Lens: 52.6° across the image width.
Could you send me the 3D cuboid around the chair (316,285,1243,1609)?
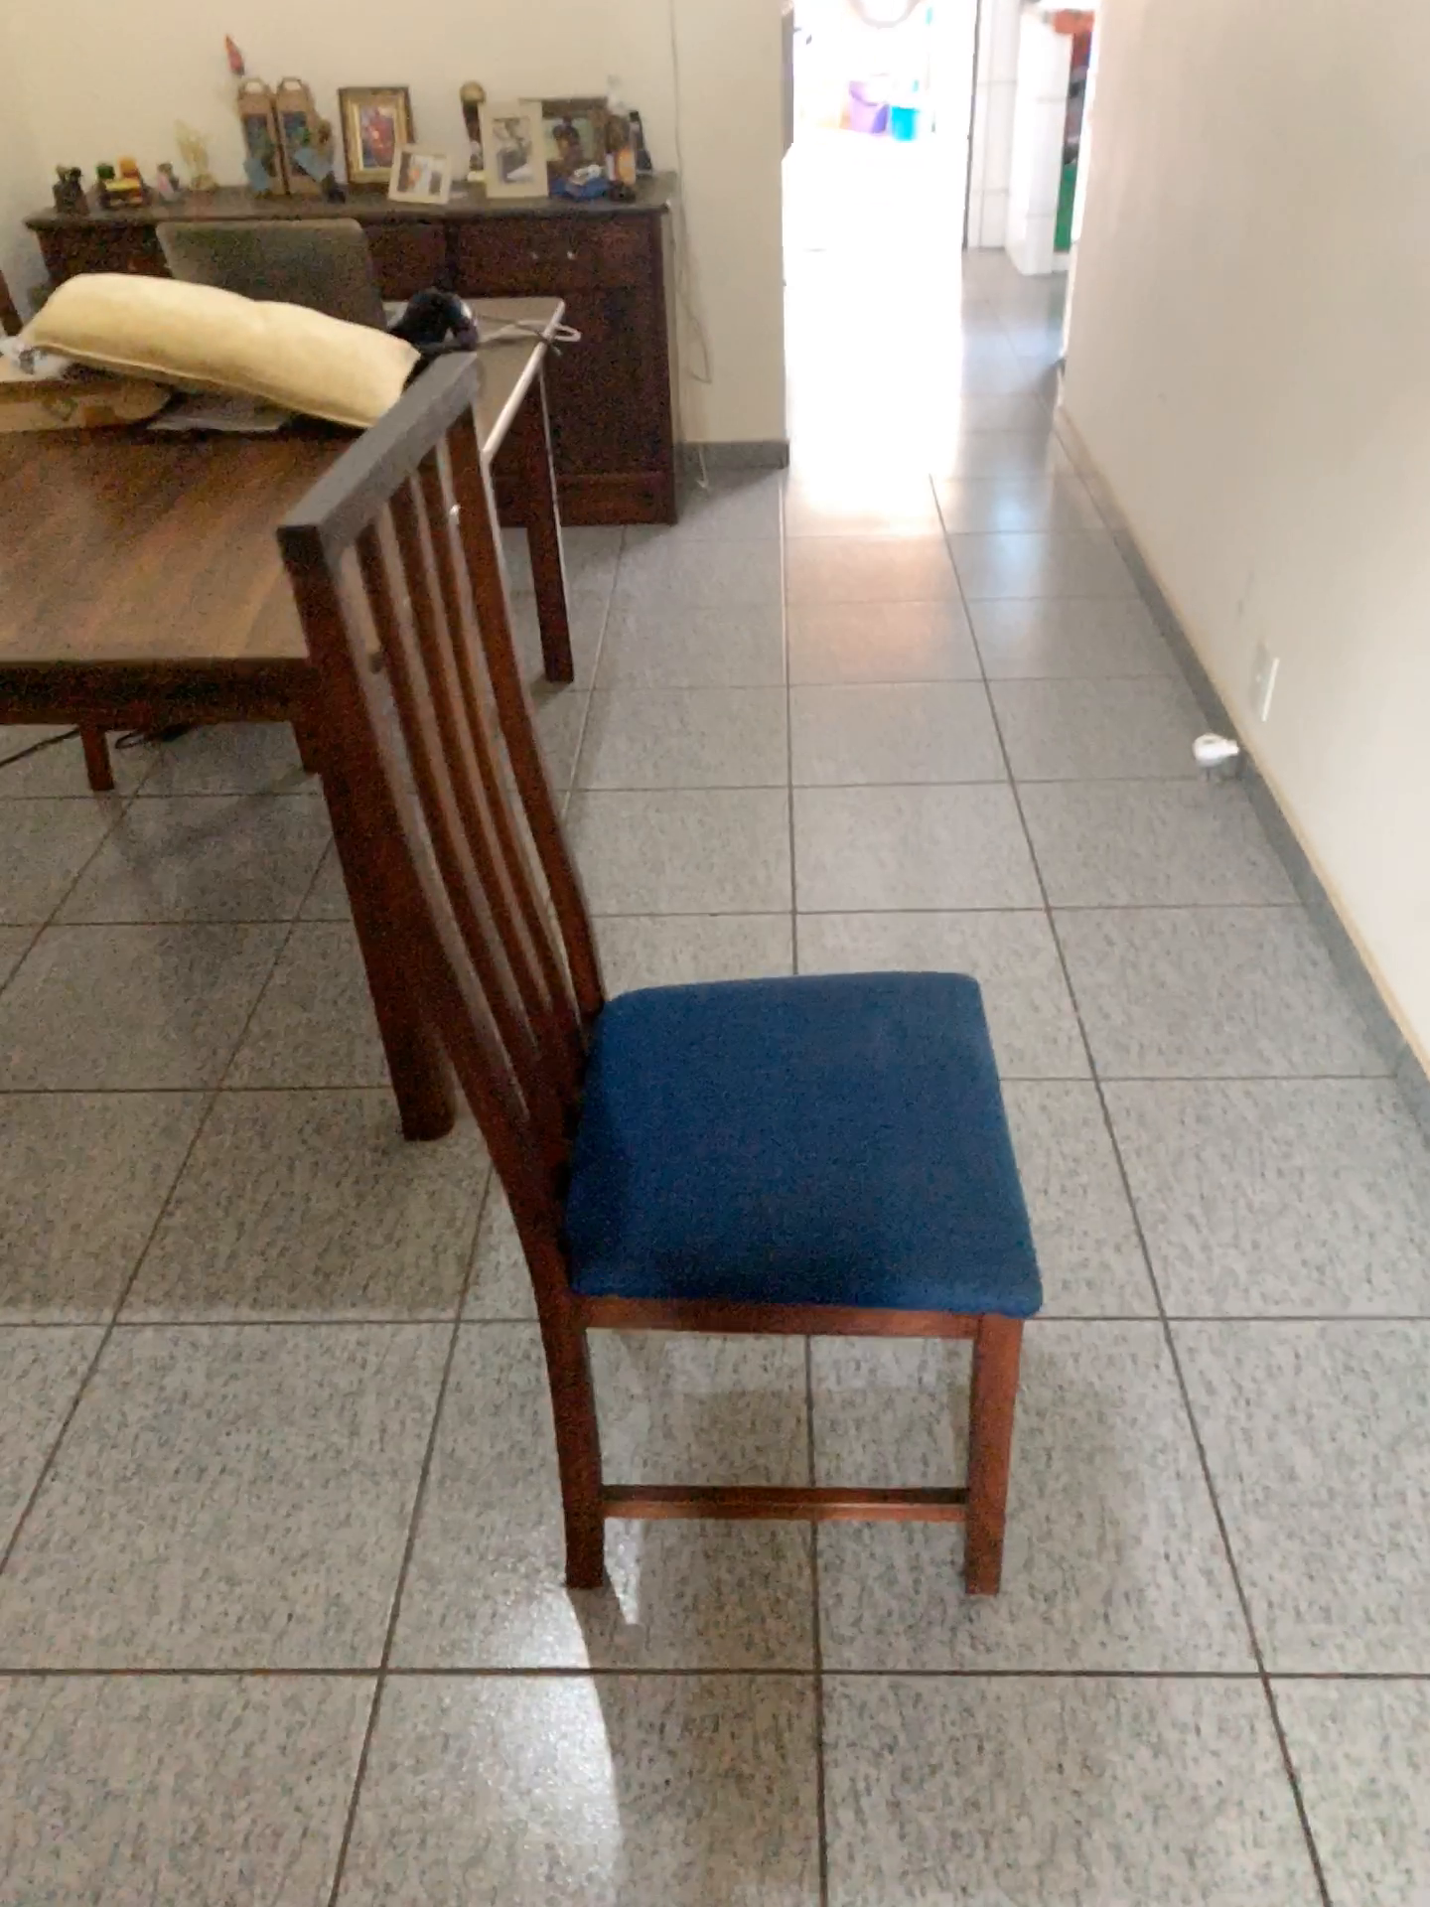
[{"bbox_3d":[0.060,0.052,1.322,0.520,1.123,0.473,-1,34,3],"label":"chair"}]
